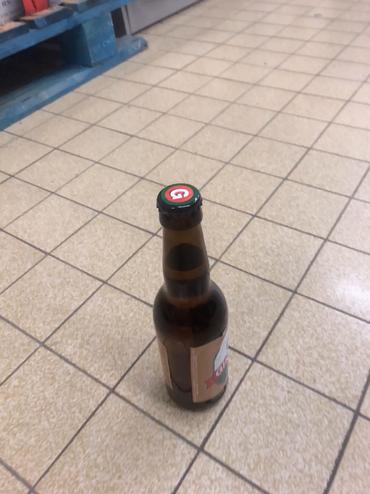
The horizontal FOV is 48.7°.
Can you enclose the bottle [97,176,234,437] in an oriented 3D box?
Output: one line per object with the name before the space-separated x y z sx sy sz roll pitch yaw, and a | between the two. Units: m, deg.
bottle | 0.001 0.060 0.307 0.070 0.219 0.070 -3 43 3
